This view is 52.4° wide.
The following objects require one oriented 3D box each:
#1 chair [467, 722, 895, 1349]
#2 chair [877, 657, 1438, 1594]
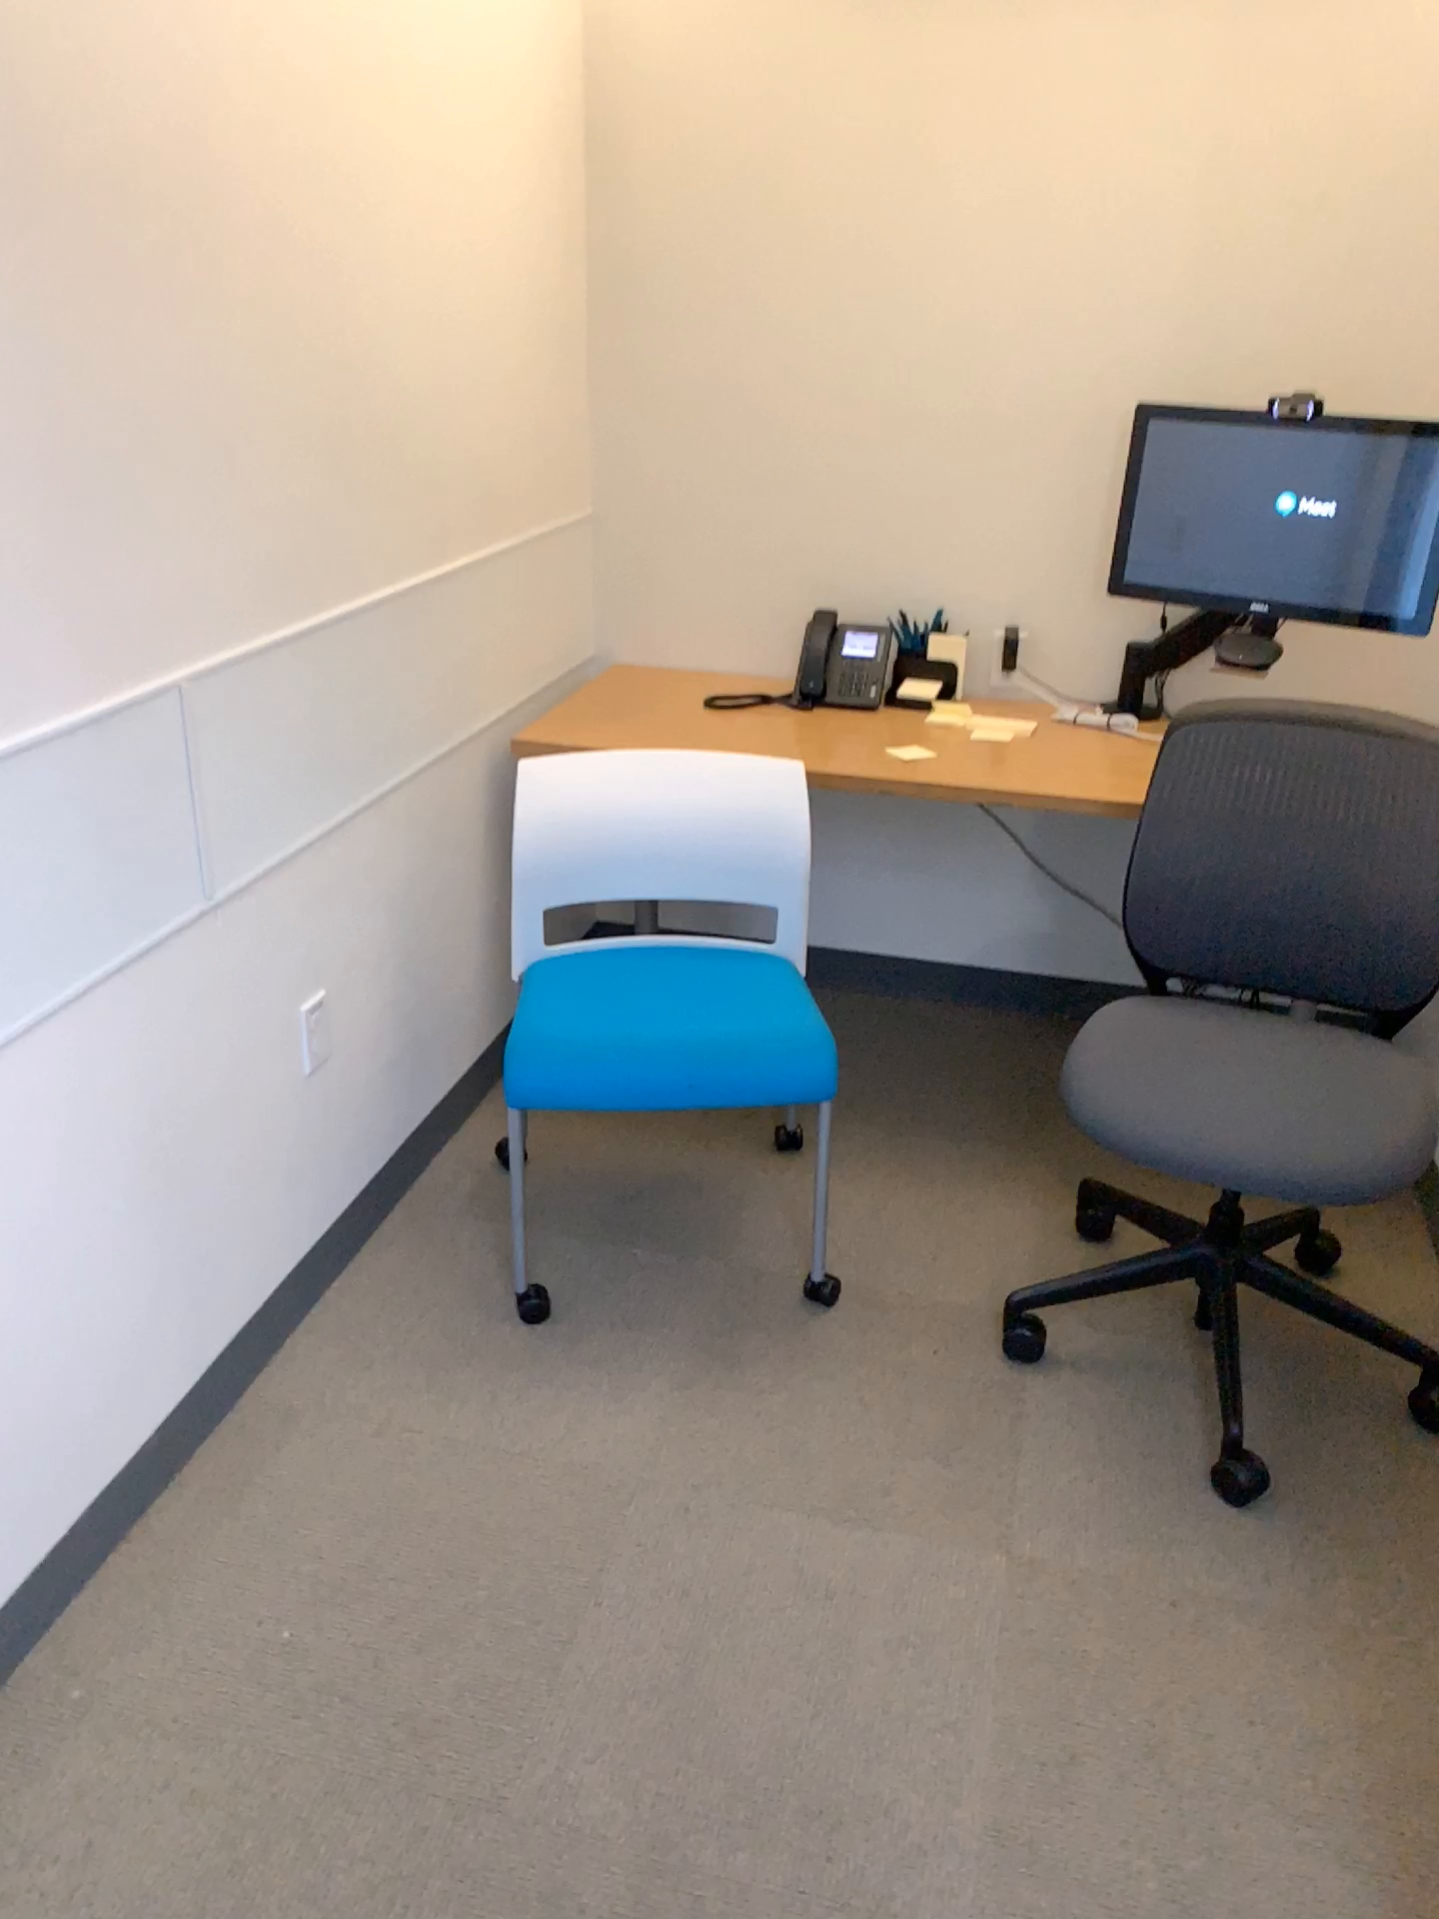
[{"bbox_3d":[-0.081,0.069,2.307,0.530,0.686,0.794,0,24,-4],"label":"chair"},{"bbox_3d":[0.803,0.128,2.188,0.751,0.885,0.974,14,27,25],"label":"chair"}]
